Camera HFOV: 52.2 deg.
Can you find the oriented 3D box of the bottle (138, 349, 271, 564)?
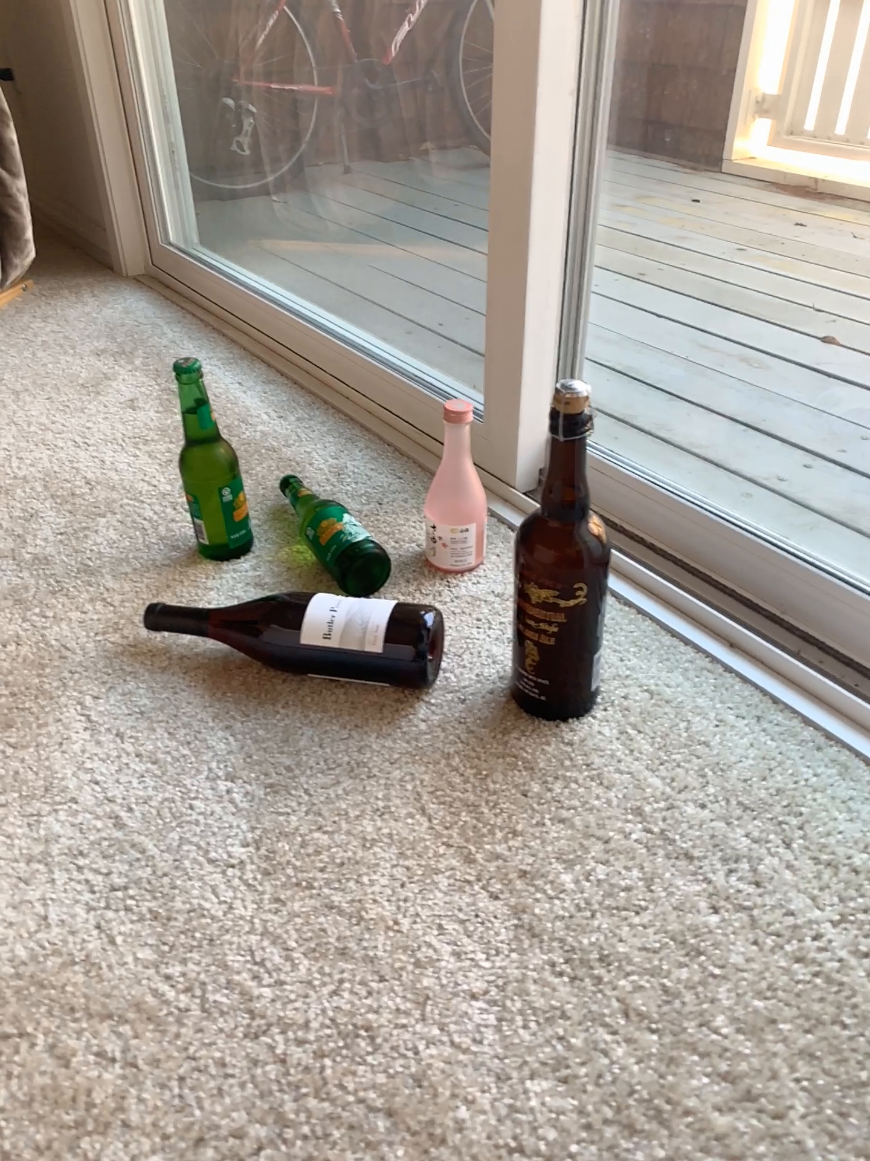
[{"bbox_3d":[-0.233,-0.127,0.924,0.080,0.199,0.080,0,34,0],"label":"bottle"}]

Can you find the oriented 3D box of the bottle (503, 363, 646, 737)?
[{"bbox_3d":[0.108,-0.016,0.715,0.080,0.288,0.090,8,35,11],"label":"bottle"}]

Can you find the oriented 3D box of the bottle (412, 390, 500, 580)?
[{"bbox_3d":[0.022,-0.097,0.911,0.070,0.169,0.080,8,35,11],"label":"bottle"}]

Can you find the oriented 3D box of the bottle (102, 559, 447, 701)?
[{"bbox_3d":[-0.138,0.041,0.787,0.290,0.060,0.070,7,35,9],"label":"bottle"}]

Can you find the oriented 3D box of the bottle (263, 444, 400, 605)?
[{"bbox_3d":[-0.116,-0.068,0.957,0.060,0.060,0.231,-17,39,-22],"label":"bottle"}]
